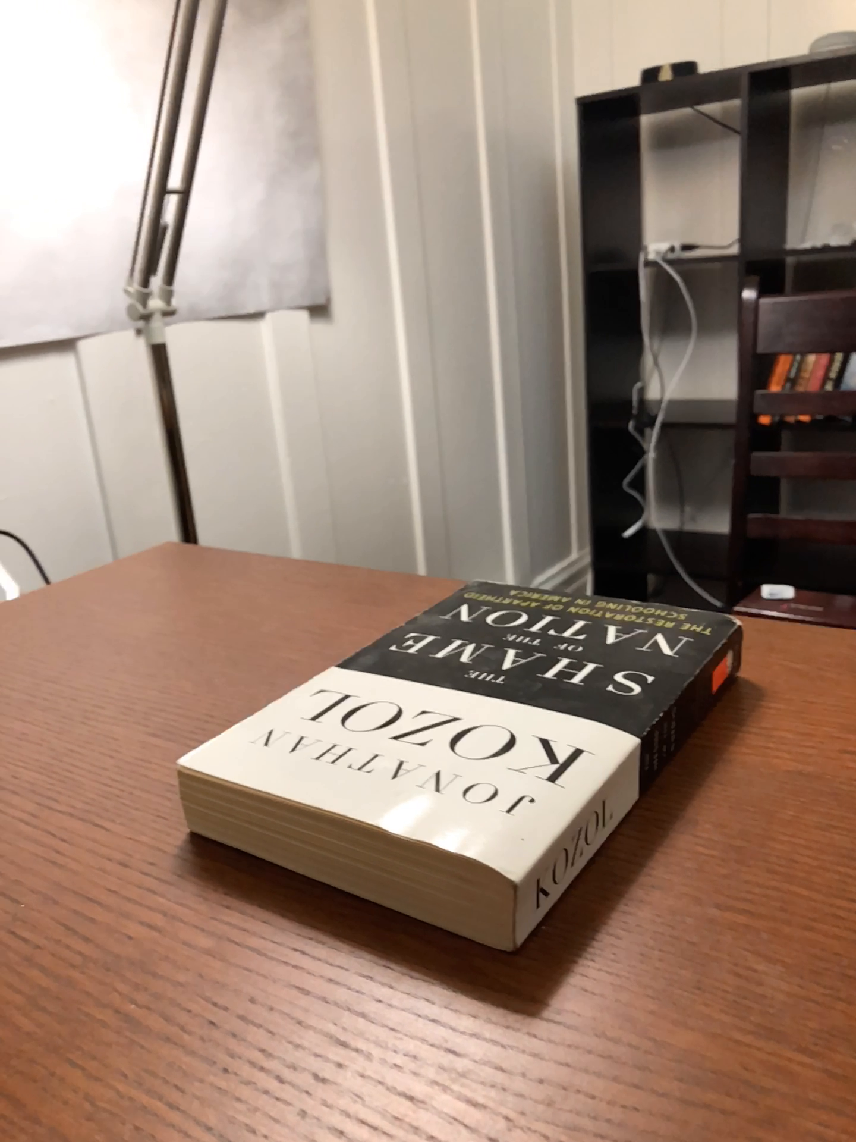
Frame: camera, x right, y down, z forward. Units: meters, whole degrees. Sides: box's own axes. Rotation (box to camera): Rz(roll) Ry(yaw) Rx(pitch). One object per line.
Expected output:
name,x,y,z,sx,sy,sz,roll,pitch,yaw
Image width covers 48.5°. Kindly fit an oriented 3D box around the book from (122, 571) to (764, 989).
book,0.023,0.057,0.387,0.160,0.030,0.231,7,21,34
